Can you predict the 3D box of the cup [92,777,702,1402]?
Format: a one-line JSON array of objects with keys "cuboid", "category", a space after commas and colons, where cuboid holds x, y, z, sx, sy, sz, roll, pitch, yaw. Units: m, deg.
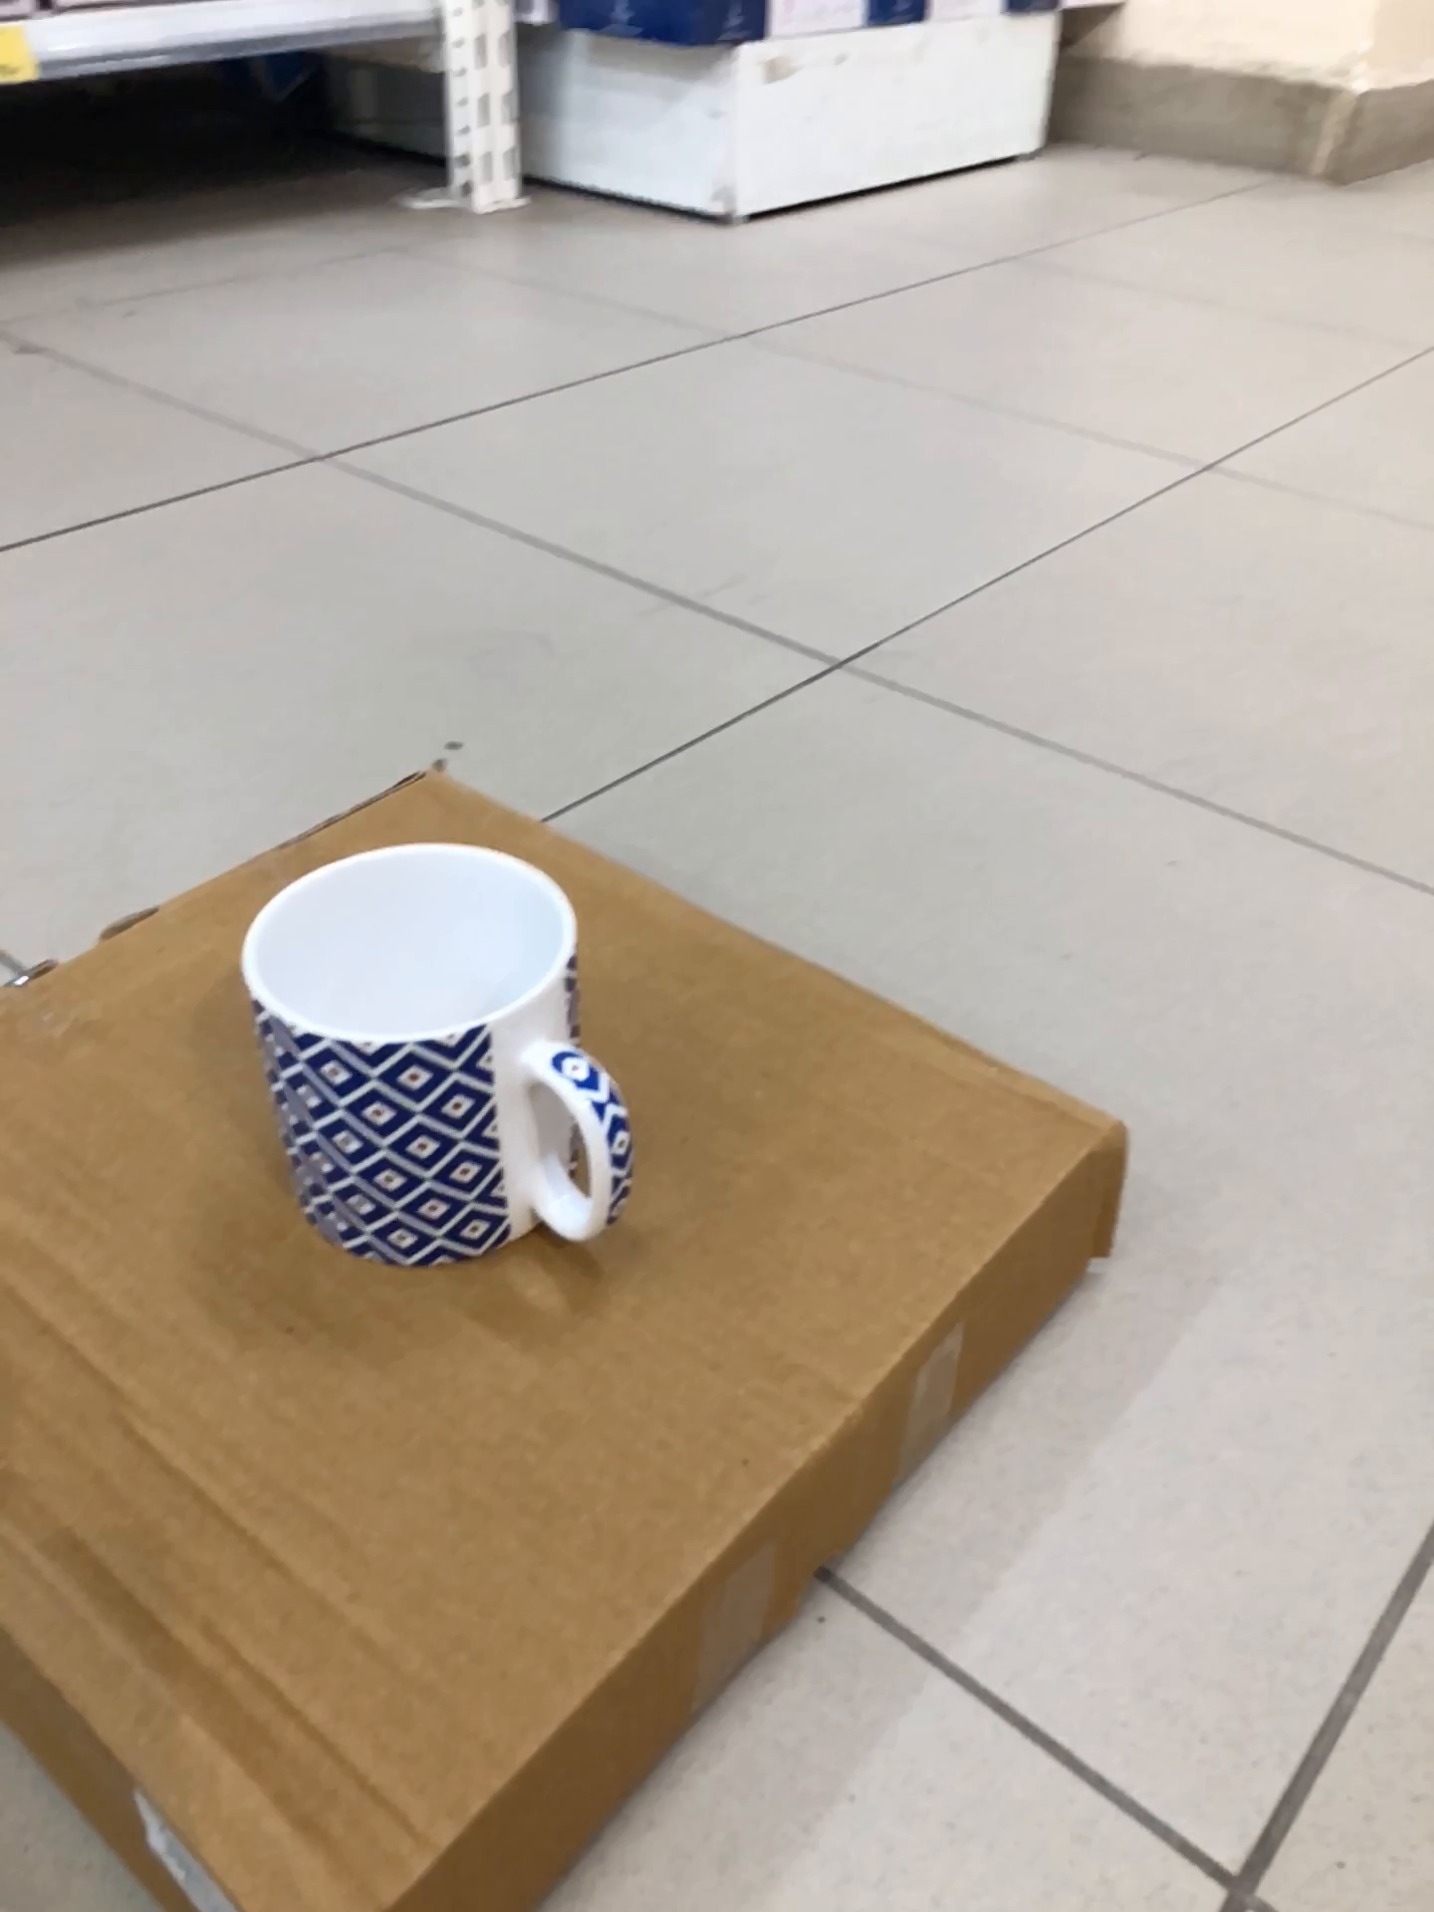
[{"cuboid": [-0.073, 0.026, 0.374, 0.110, 0.079, 0.080, 26, 42, 29], "category": "cup"}]
